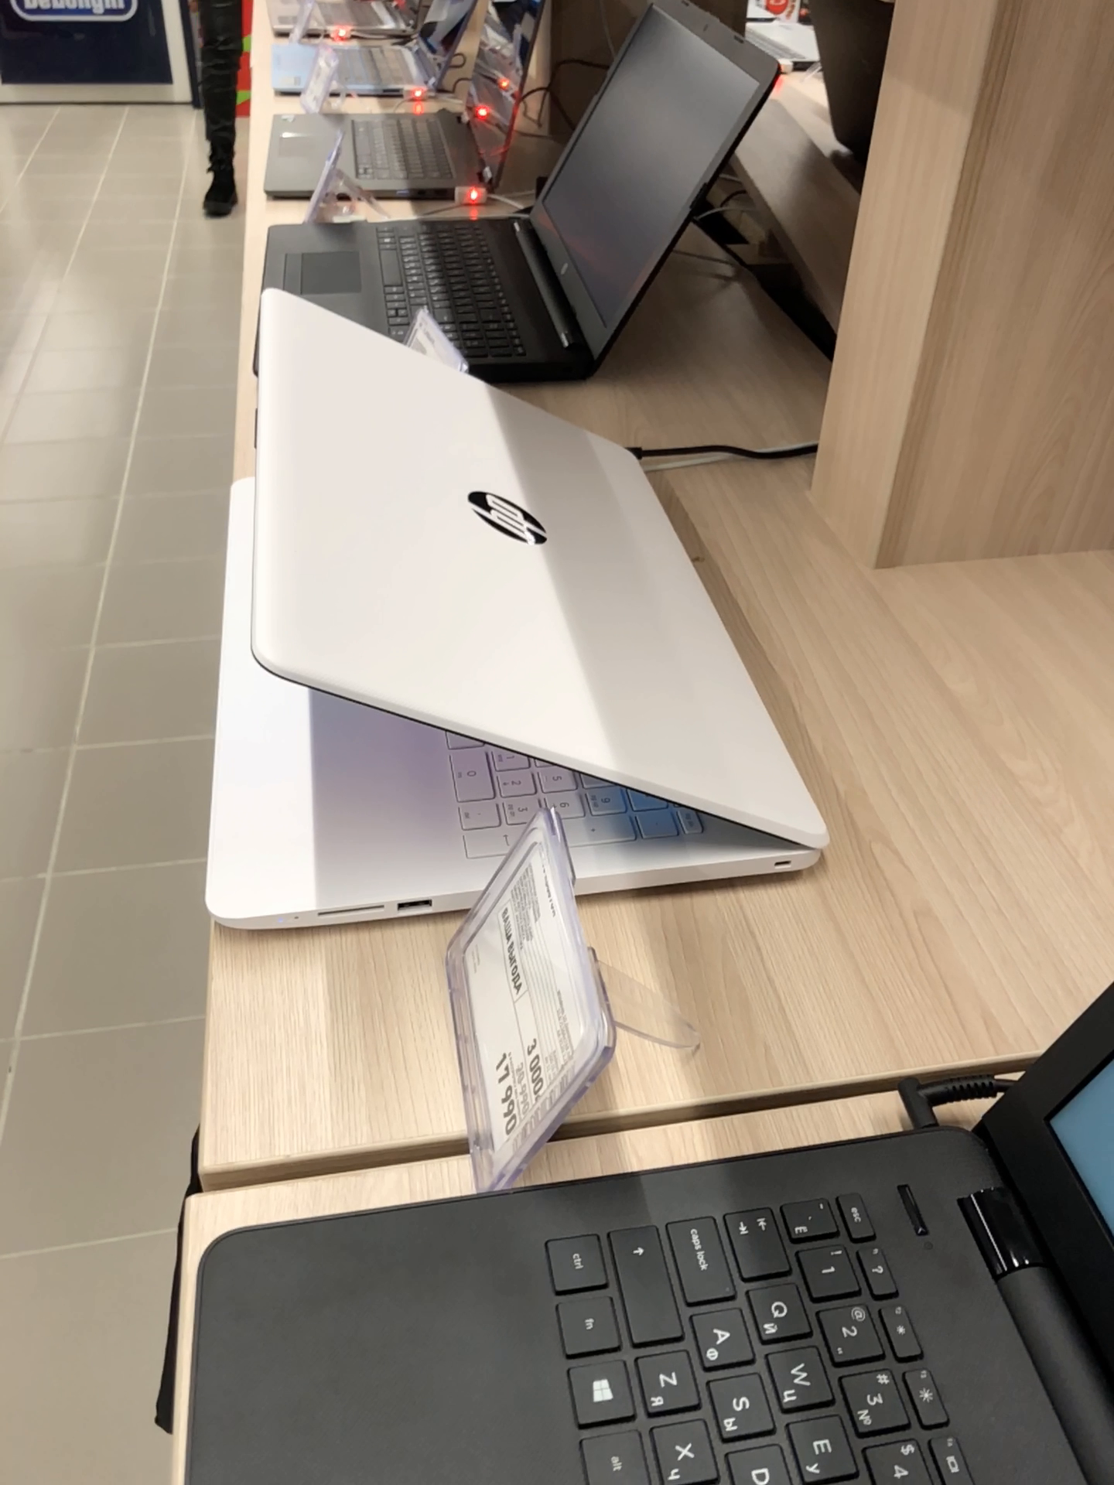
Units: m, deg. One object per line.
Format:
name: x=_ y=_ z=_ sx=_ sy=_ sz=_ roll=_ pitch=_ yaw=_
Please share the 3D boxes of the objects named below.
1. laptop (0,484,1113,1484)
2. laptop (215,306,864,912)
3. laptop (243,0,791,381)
laptop: x=0.112 y=0.165 z=0.178 sx=0.349 sy=0.219 sz=0.393 roll=-5 pitch=40 yaw=-10
laptop: x=-0.036 y=-0.098 z=0.610 sx=0.232 sy=0.103 sz=0.370 roll=-6 pitch=38 yaw=-7
laptop: x=-0.048 y=-0.484 z=1.026 sx=0.368 sy=0.203 sz=0.388 roll=-4 pitch=38 yaw=-8
